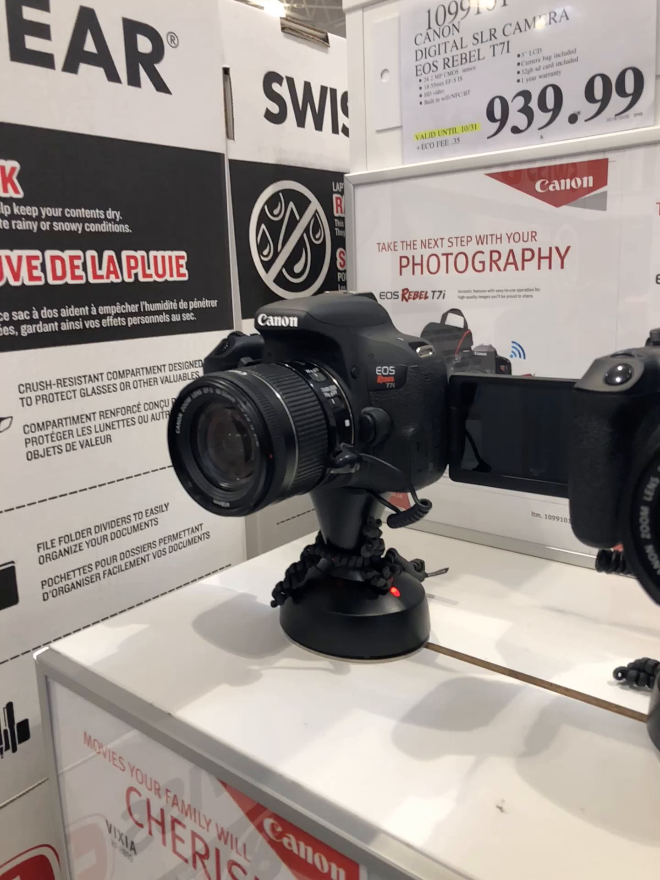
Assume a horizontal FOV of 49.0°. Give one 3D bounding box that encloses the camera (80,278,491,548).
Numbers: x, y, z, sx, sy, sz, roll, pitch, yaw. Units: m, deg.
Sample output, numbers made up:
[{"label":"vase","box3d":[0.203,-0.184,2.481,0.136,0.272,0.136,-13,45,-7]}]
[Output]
[{"label":"camera","box3d":[-0.017,-0.028,0.371,0.140,0.100,0.150,8,15,38]}]
